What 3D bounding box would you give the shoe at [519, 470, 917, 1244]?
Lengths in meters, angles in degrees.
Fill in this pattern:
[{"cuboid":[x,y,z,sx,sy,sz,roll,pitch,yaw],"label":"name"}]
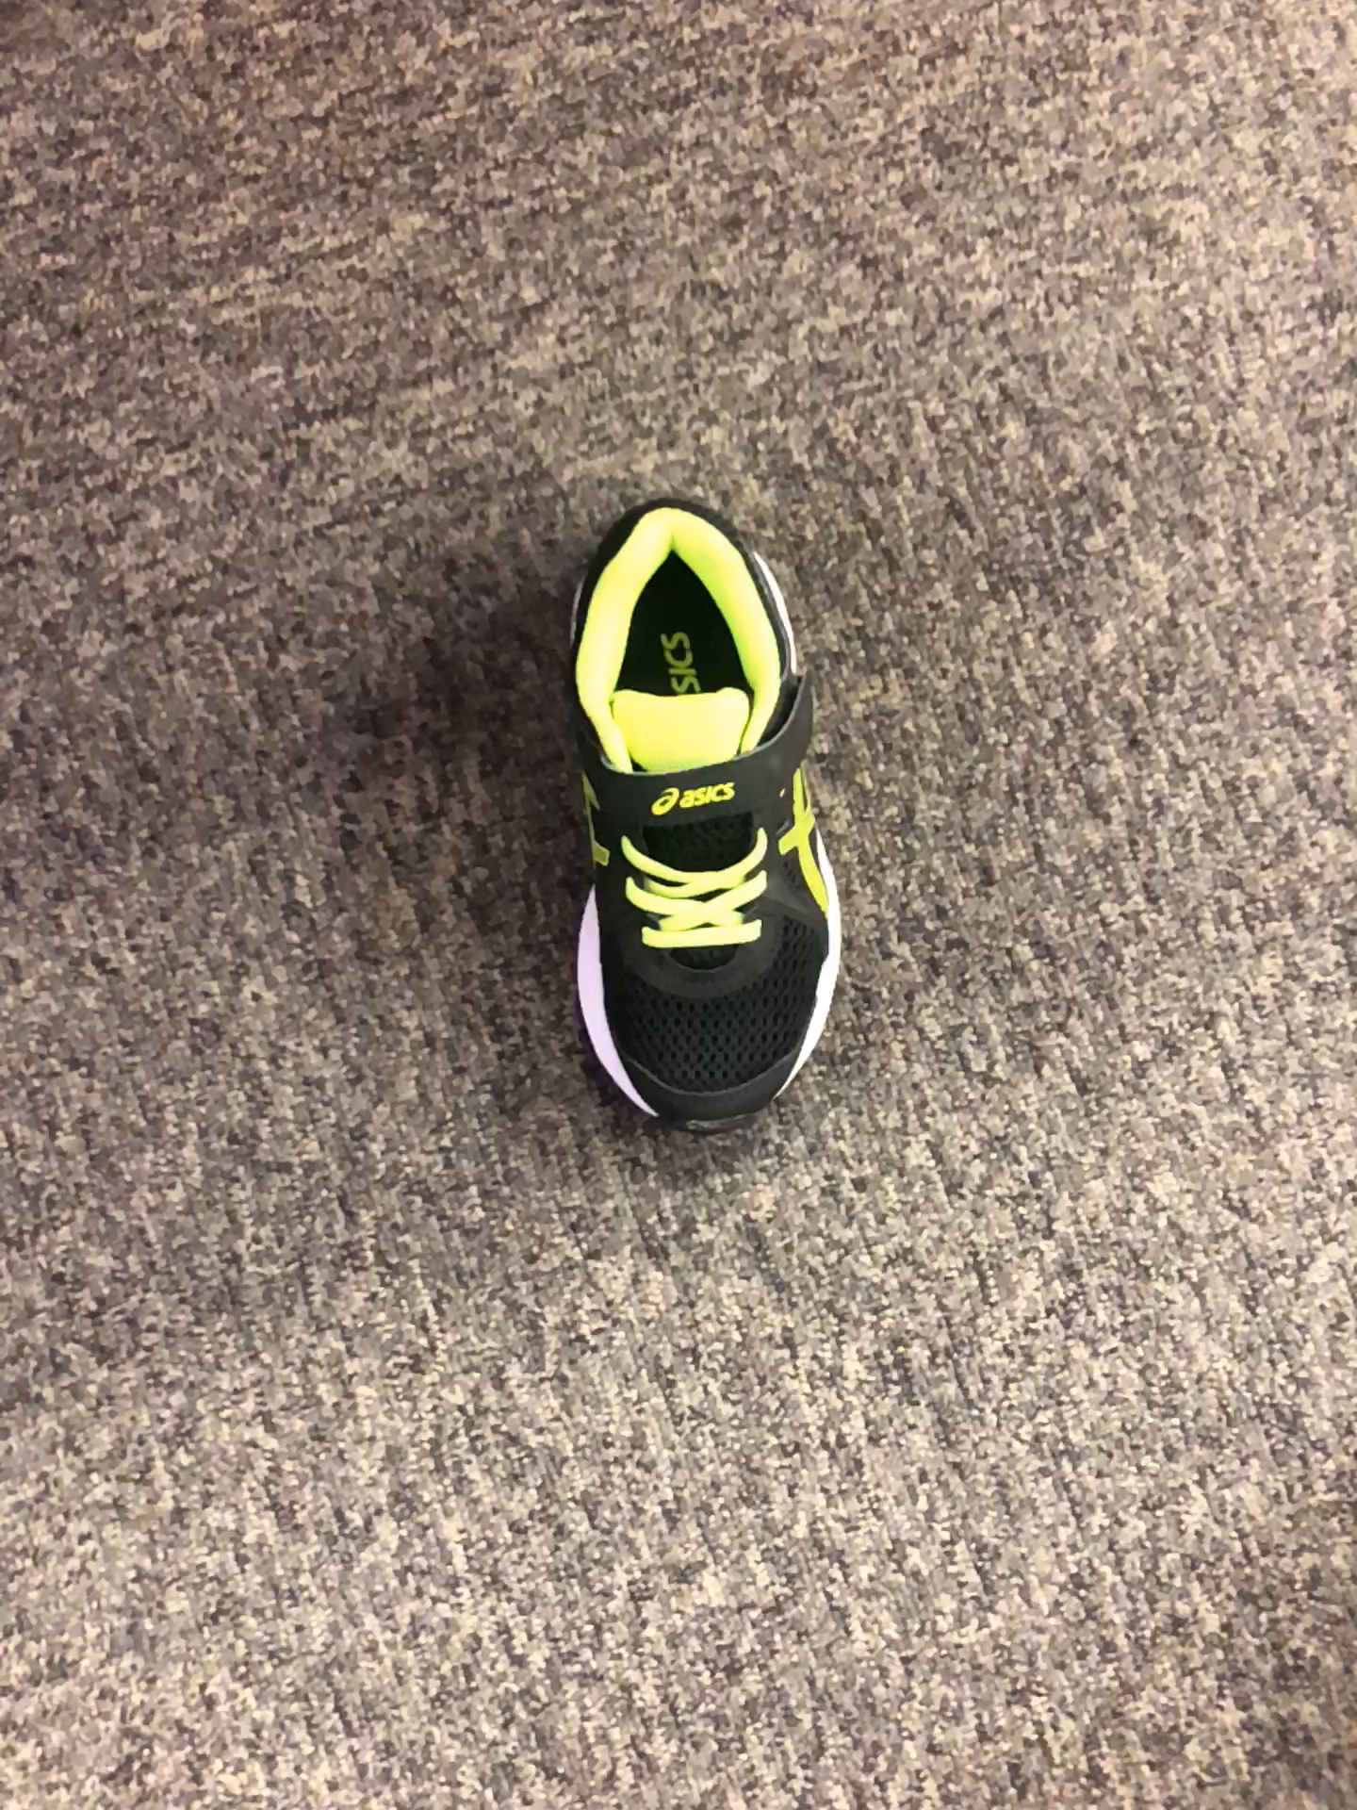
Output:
[{"cuboid":[0.008,-0.012,0.437,0.090,0.080,0.200,-4,86,-2],"label":"shoe"}]
